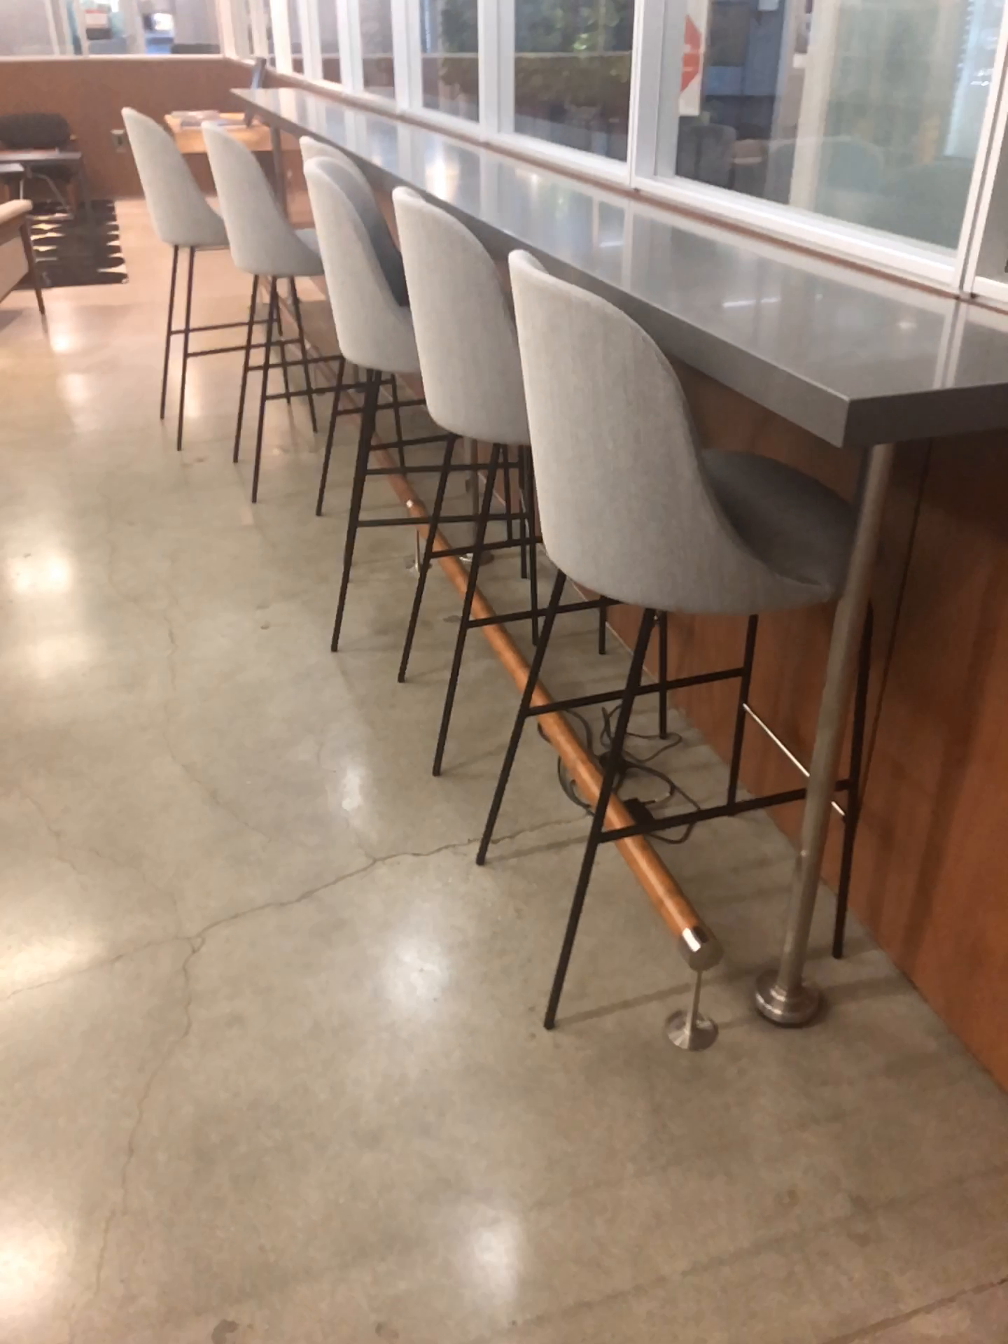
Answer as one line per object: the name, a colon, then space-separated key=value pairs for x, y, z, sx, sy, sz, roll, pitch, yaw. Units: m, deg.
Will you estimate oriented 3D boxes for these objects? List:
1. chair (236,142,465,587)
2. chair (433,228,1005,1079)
chair: x=-0.580 y=-1.204 z=4.293 sx=0.622 sy=1.487 sz=0.714 roll=-11 pitch=32 yaw=-18
chair: x=0.252 y=-0.022 z=1.740 sx=0.591 sy=1.180 sz=0.493 roll=-8 pitch=31 yaw=-13
